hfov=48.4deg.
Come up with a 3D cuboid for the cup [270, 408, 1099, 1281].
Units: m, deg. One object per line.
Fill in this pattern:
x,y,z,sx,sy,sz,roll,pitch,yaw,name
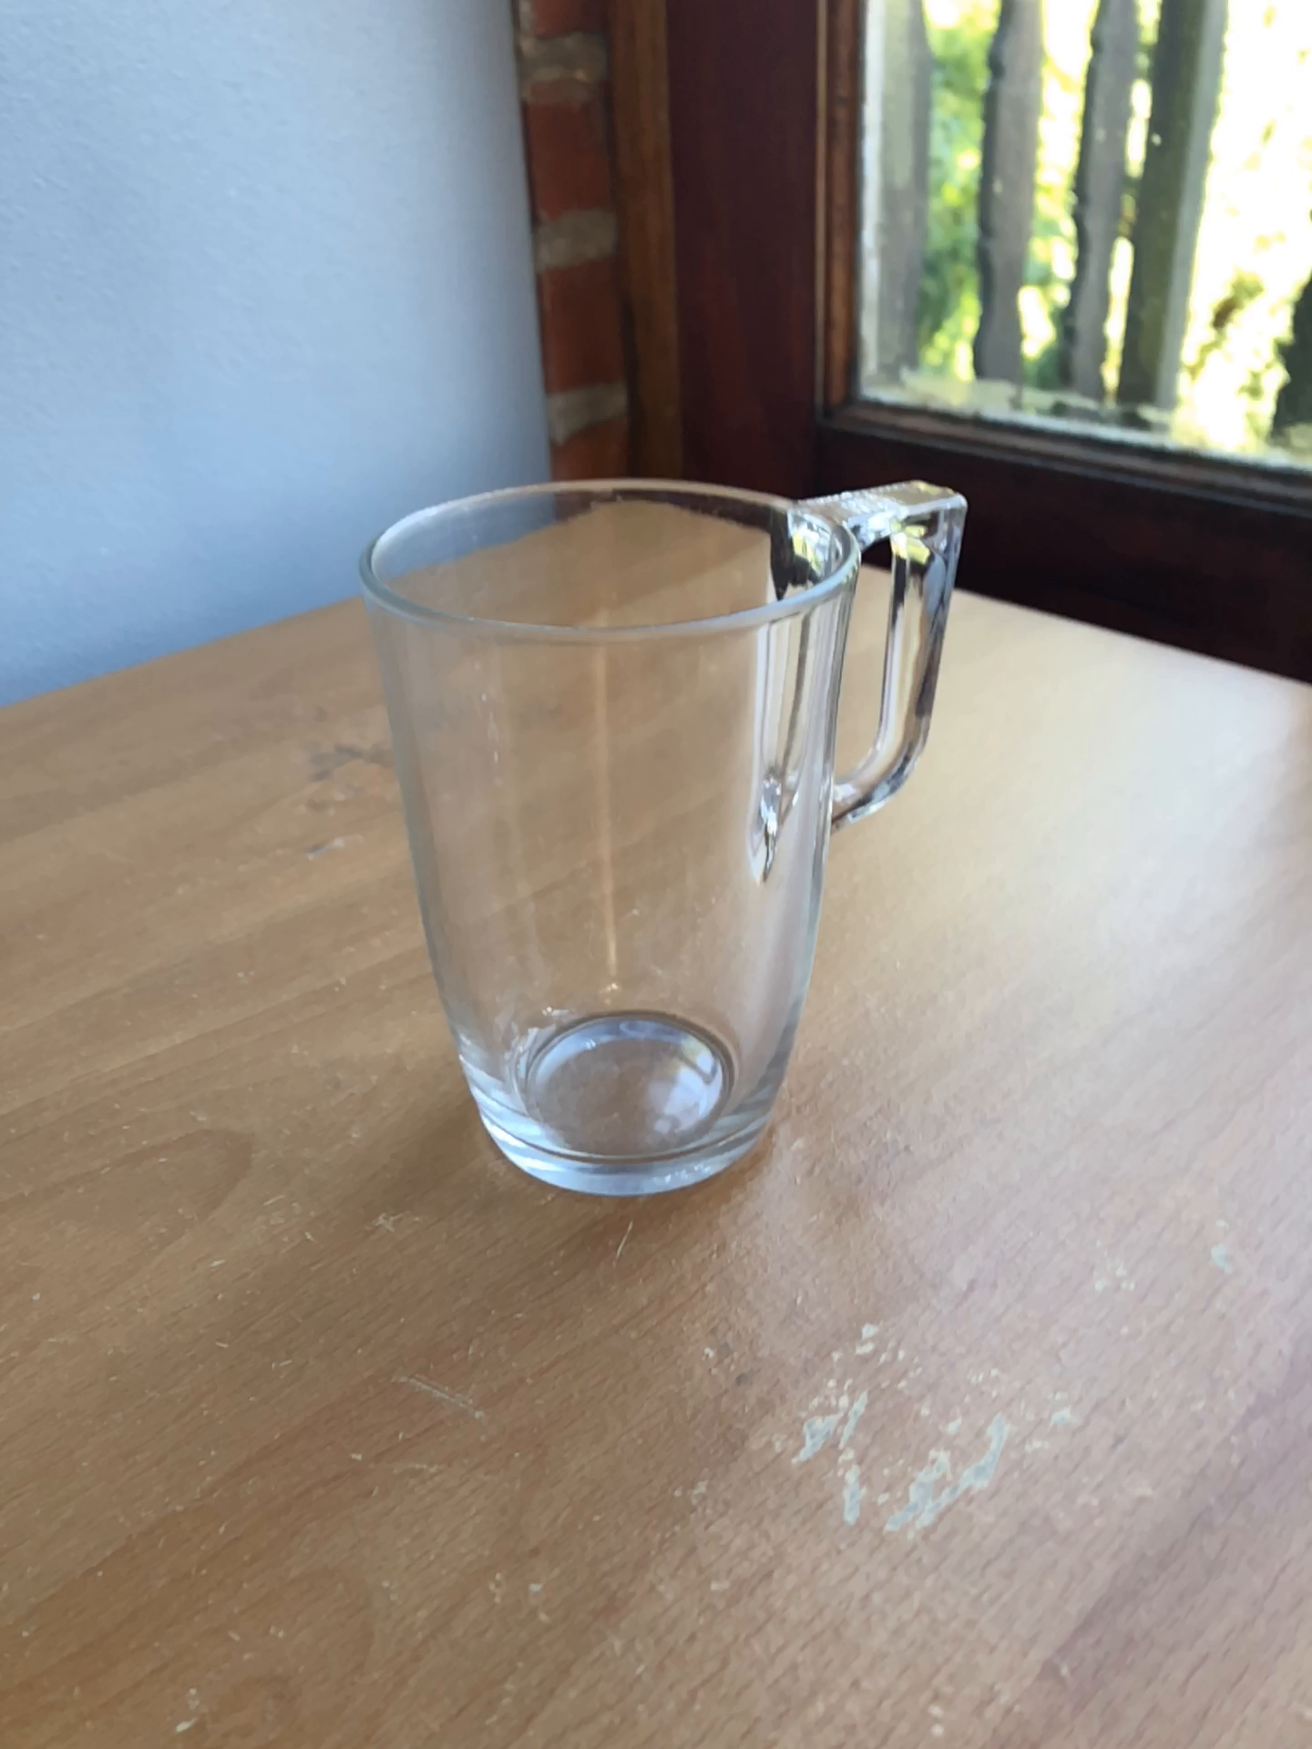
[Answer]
0.004,-0.012,0.250,0.103,0.103,0.078,-17,33,-22,cup
